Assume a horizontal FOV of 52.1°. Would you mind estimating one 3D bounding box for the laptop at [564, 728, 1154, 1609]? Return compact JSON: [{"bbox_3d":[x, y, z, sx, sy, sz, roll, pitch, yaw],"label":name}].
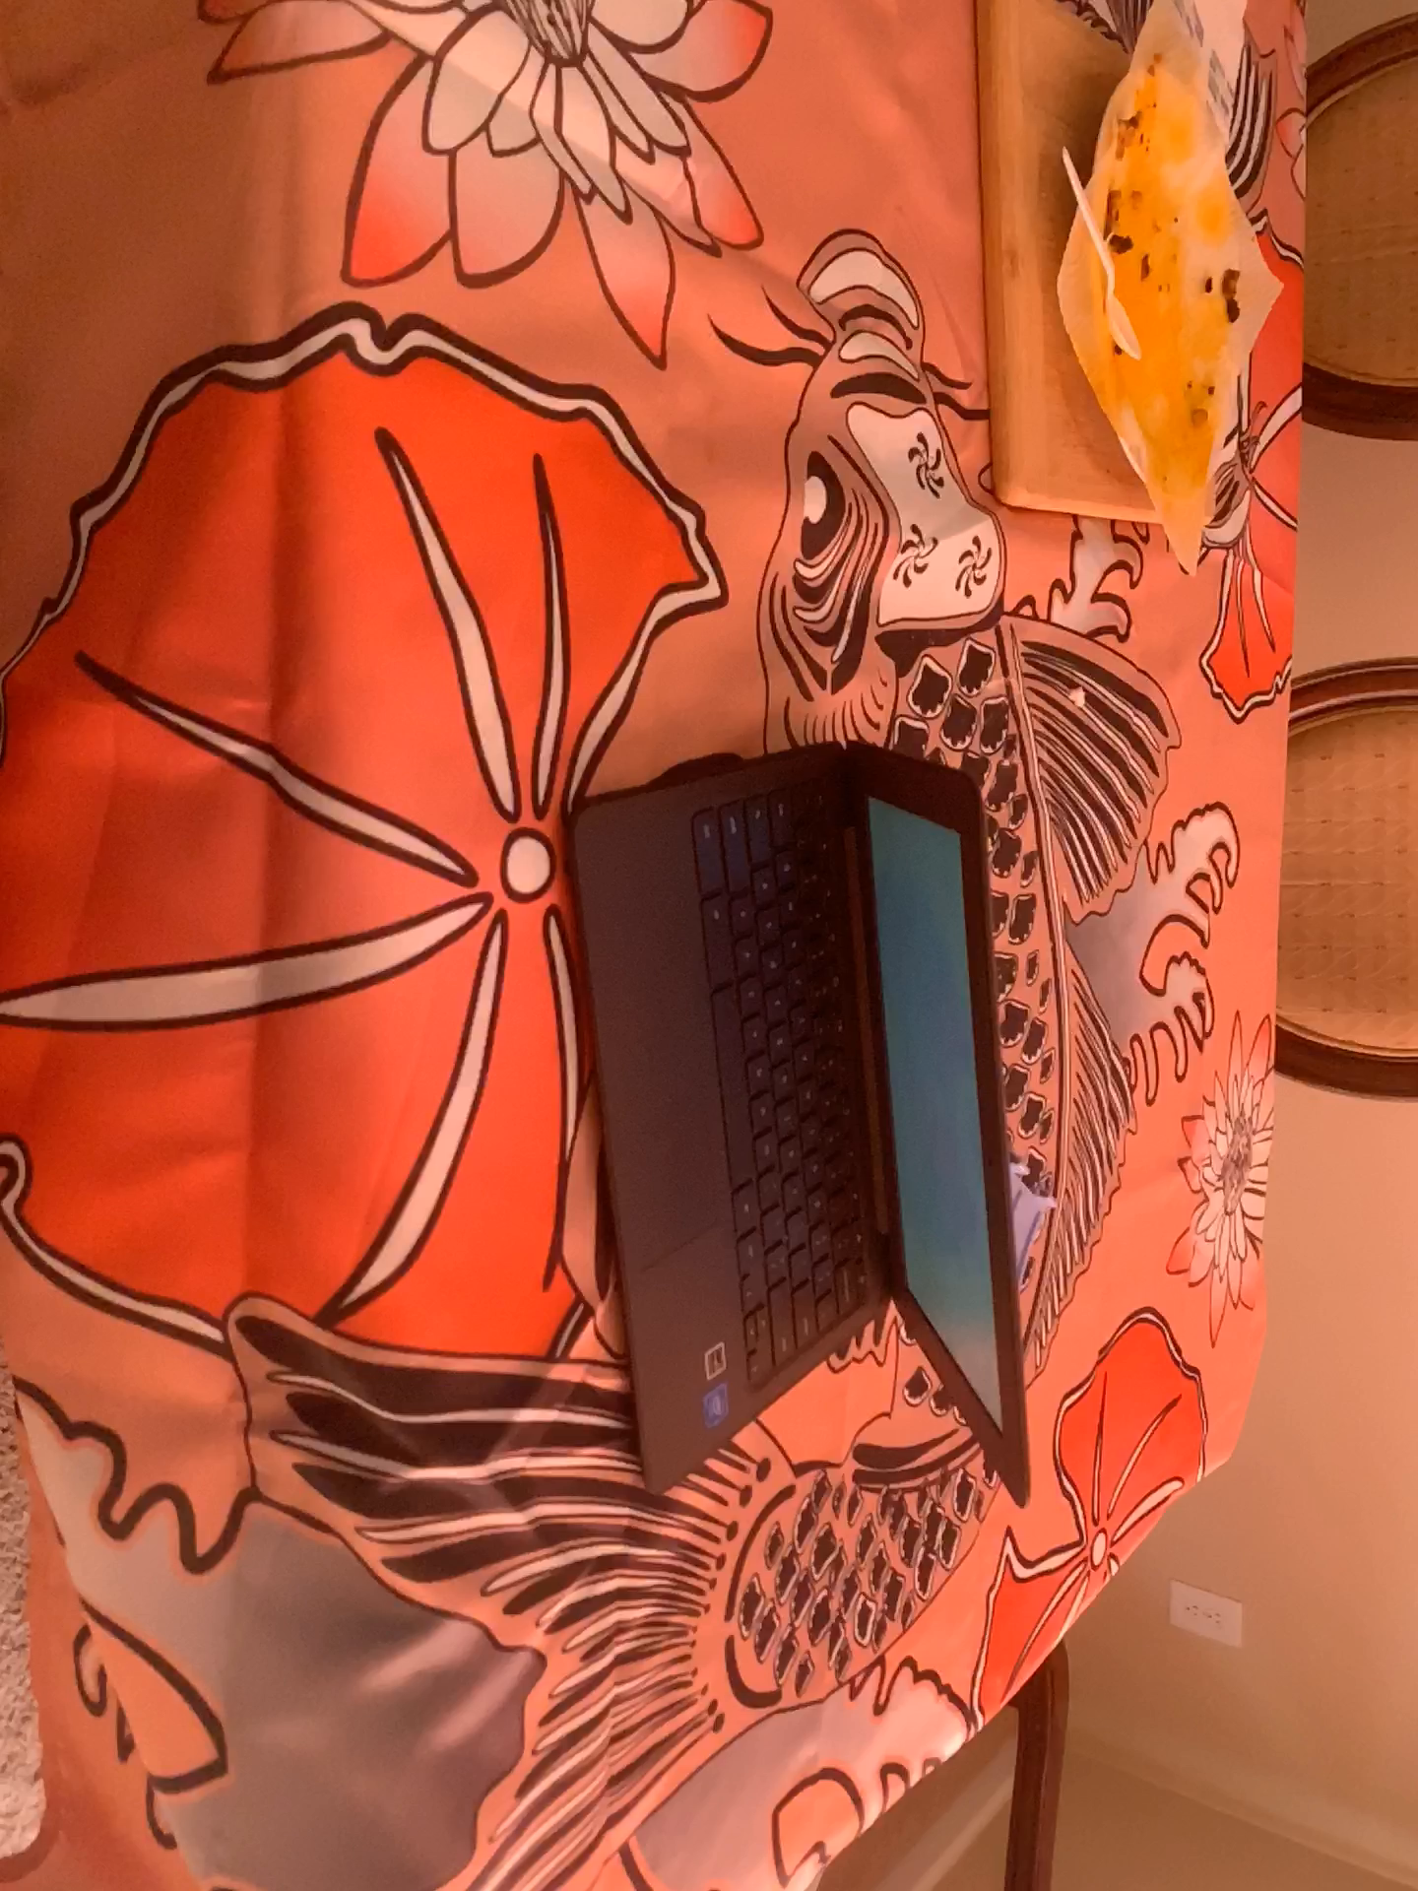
[{"bbox_3d":[0.080,0.071,0.625,0.212,0.144,0.299,-22,110,-51],"label":"laptop"}]
